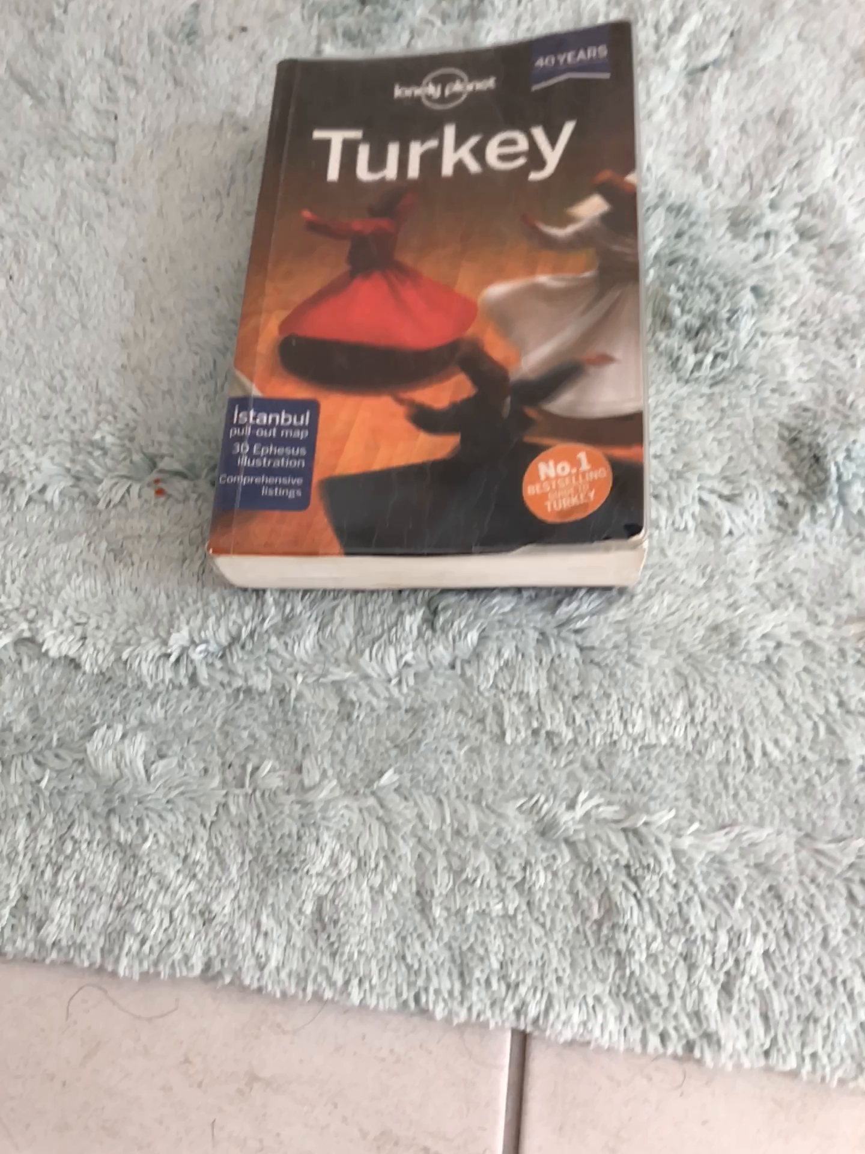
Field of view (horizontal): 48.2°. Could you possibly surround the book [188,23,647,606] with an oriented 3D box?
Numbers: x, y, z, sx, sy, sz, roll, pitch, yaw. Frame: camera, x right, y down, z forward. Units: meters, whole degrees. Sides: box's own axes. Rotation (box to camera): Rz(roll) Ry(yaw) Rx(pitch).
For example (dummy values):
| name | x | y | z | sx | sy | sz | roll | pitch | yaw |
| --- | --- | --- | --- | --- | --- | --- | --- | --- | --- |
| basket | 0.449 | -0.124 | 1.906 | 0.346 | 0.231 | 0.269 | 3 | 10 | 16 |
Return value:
| name | x | y | z | sx | sy | sz | roll | pitch | yaw |
| --- | --- | --- | --- | --- | --- | --- | --- | --- | --- |
| book | 0.002 | -0.088 | 0.323 | 0.130 | 0.046 | 0.190 | 0 | 70 | 9 |
